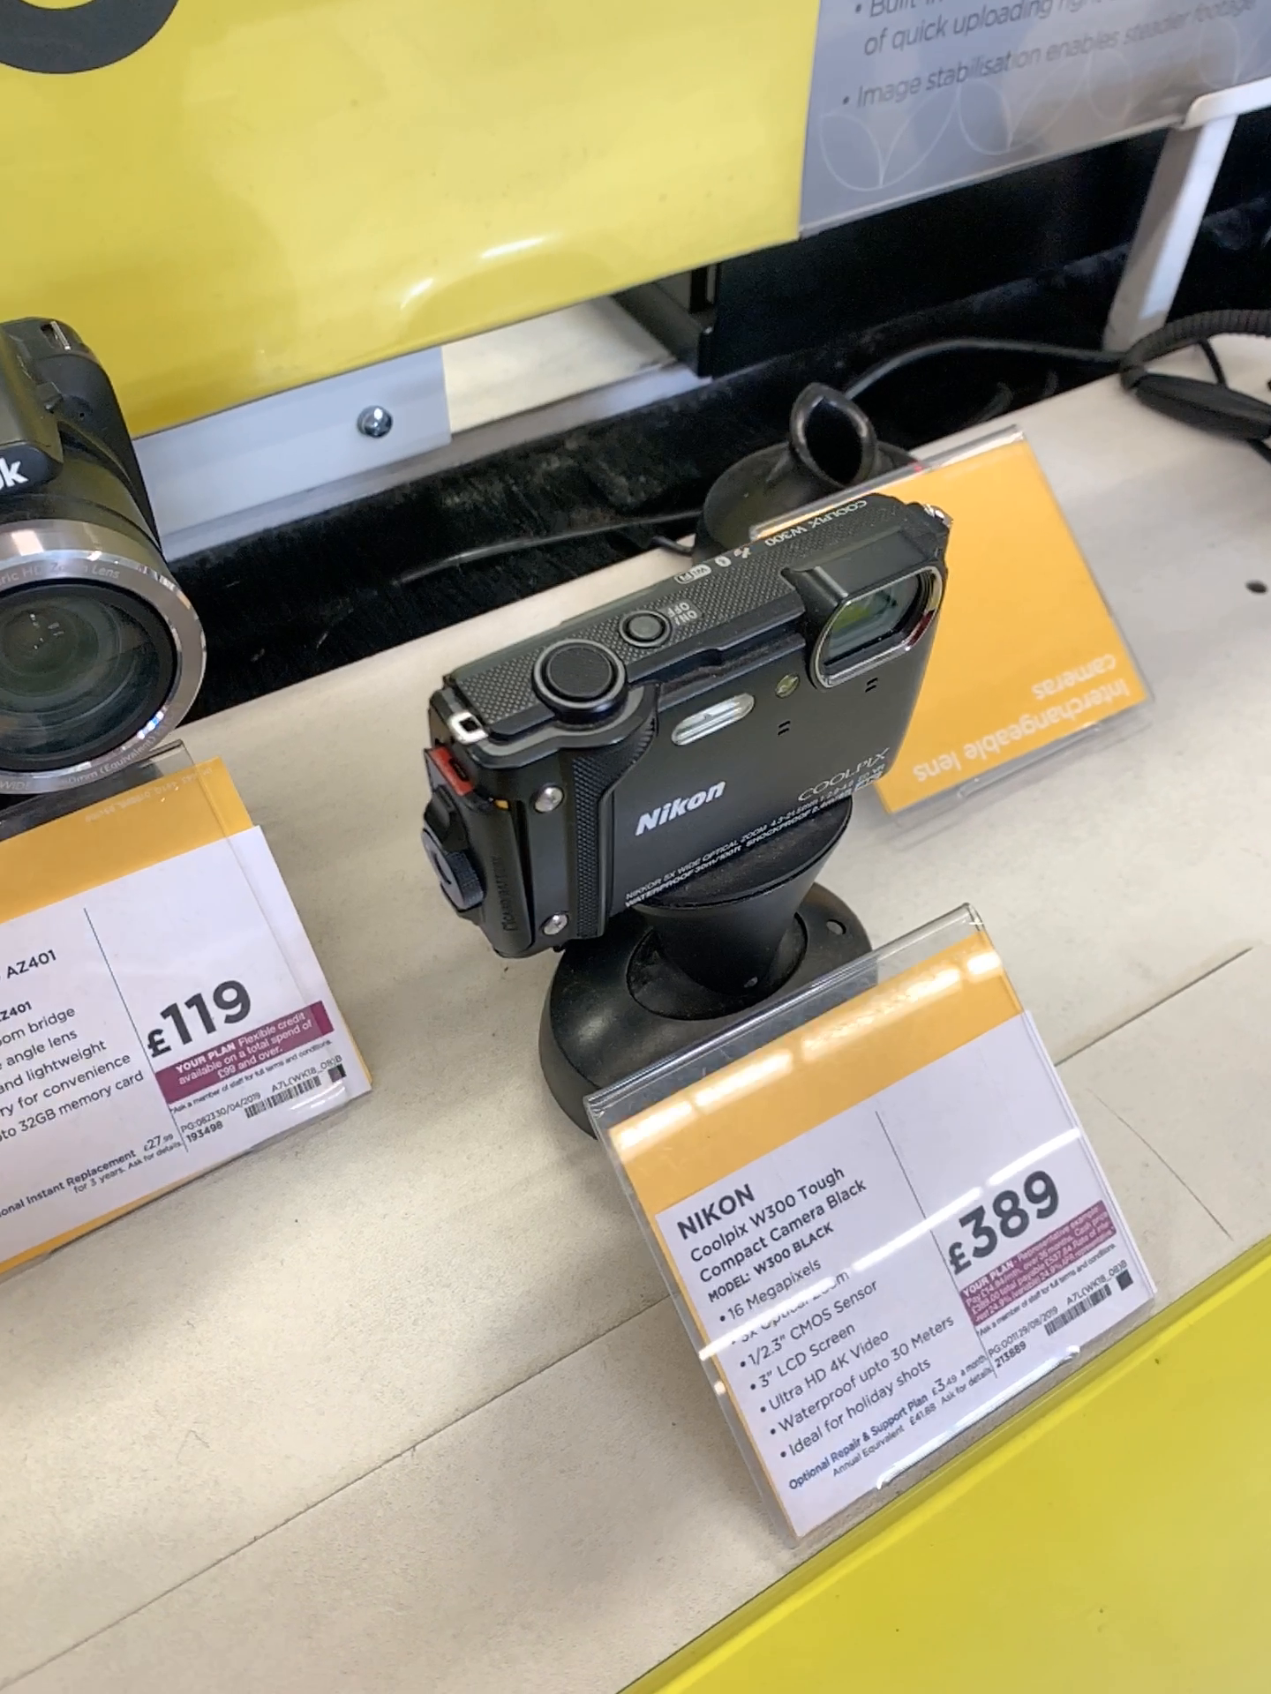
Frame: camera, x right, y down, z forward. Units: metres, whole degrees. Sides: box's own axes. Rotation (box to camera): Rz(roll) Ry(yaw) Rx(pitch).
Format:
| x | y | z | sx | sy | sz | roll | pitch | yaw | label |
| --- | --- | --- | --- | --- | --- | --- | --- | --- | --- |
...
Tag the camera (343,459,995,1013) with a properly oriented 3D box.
| x | y | z | sx | sy | sz | roll | pitch | yaw | label |
| --- | --- | --- | --- | --- | --- | --- | --- | --- | --- |
| 0.008 | -0.022 | 0.264 | 0.120 | 0.069 | 0.030 | -25 | 57 | -20 | camera |
